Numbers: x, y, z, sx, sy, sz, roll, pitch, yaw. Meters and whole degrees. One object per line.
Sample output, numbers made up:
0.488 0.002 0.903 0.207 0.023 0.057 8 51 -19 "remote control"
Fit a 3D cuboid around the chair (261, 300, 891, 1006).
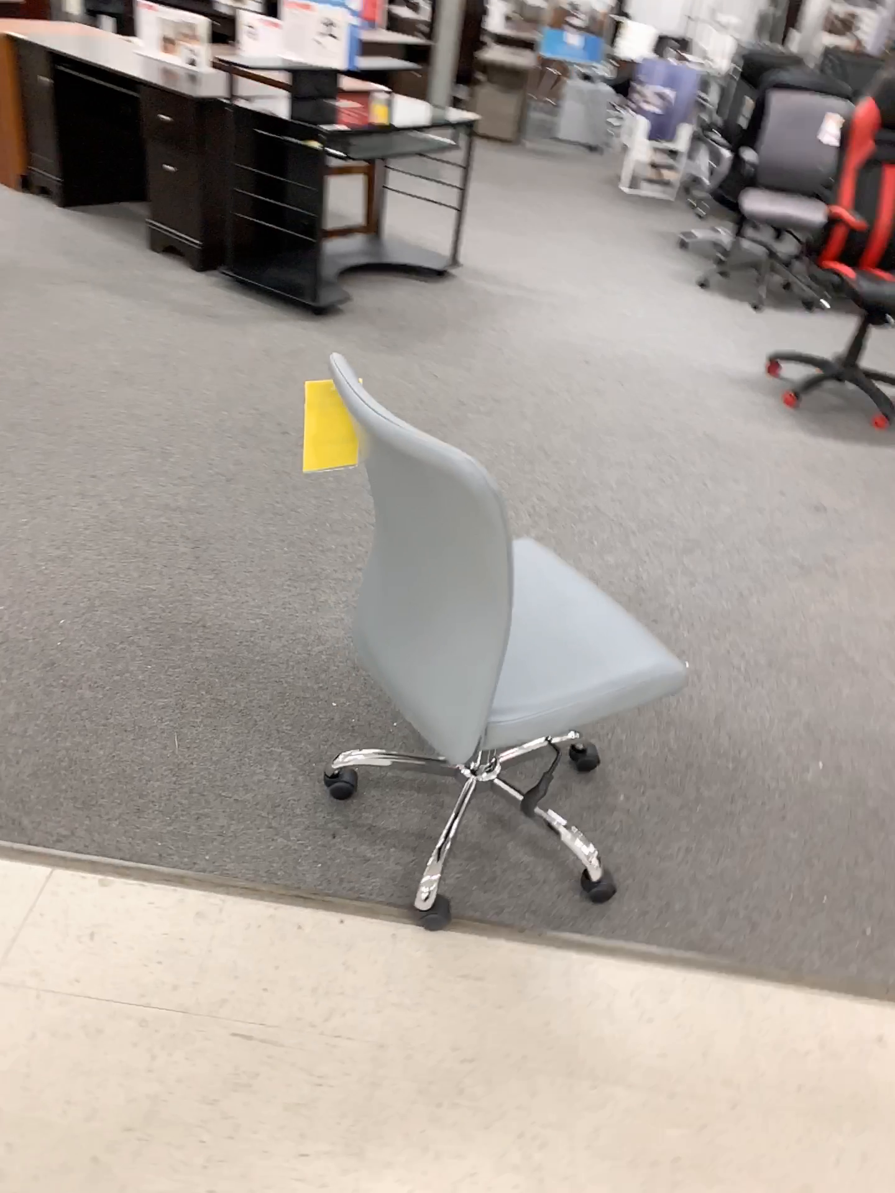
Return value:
0.113 0.053 1.526 0.651 0.875 0.603 -12 40 -28 "chair"
